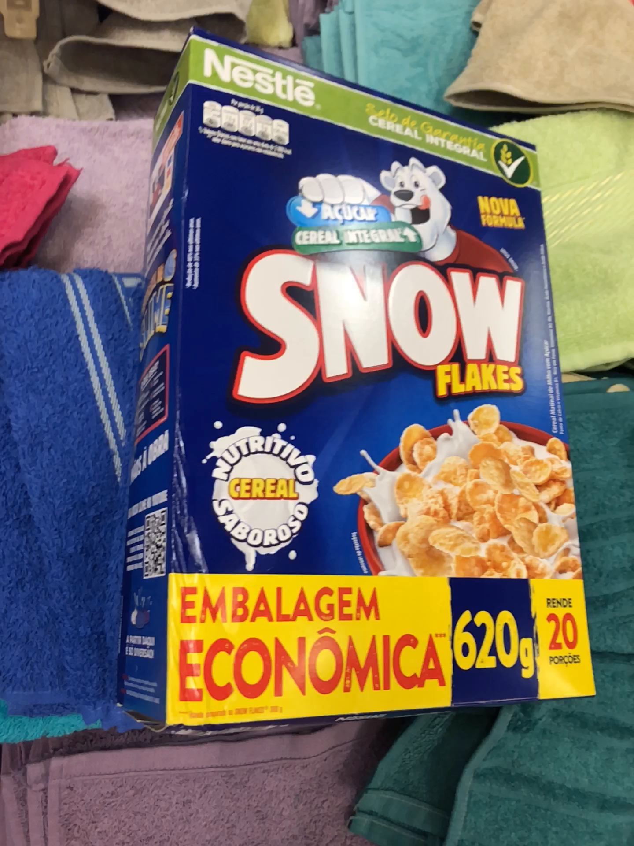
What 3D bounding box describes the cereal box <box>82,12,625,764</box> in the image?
[{"bbox_3d":[0.019,-0.016,0.339,0.221,0.070,0.301,7,72,-23],"label":"cereal box"}]
